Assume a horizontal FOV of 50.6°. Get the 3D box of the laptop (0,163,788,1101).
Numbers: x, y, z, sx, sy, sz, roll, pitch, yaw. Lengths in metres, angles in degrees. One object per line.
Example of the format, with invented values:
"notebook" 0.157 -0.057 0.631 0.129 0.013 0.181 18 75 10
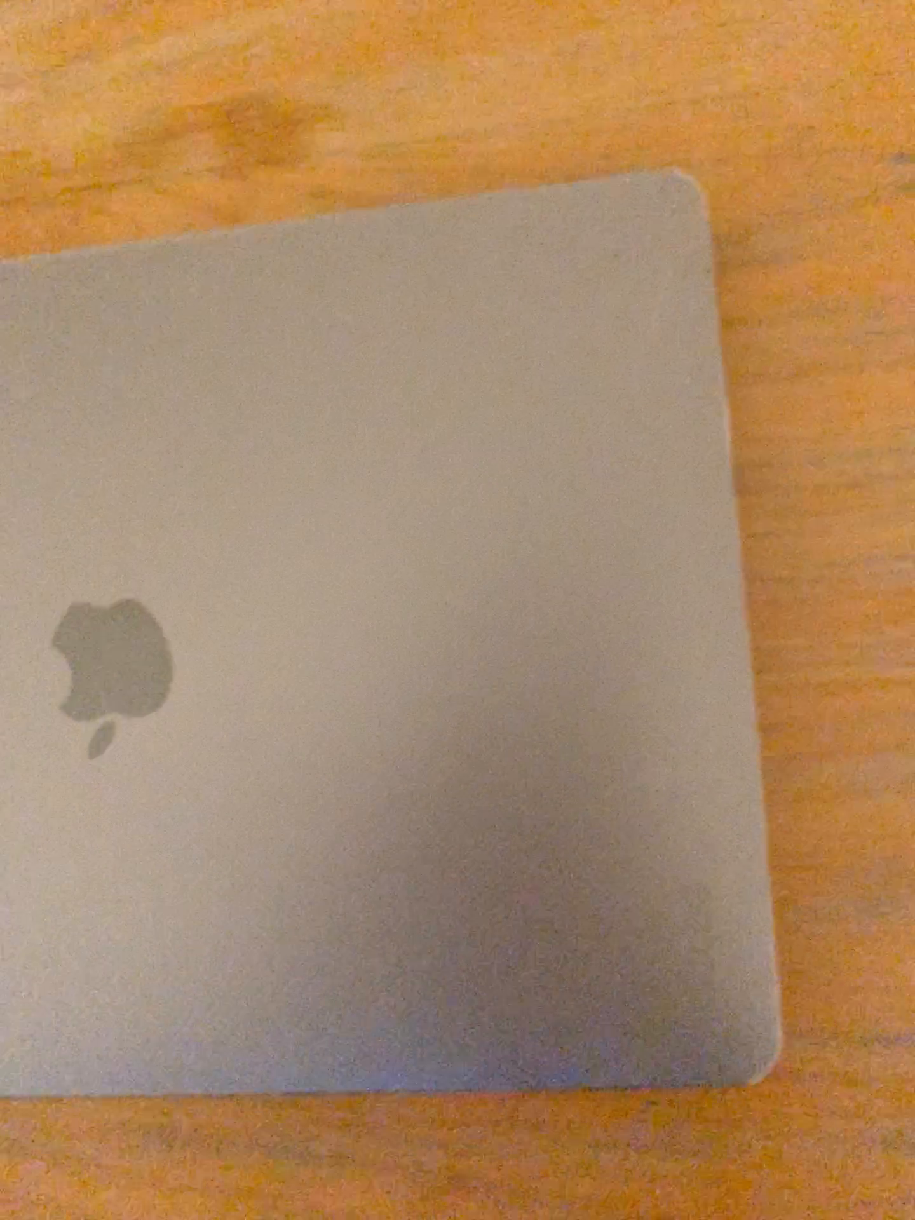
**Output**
"laptop" -0.080 0.013 0.242 0.292 0.005 0.210 -4 87 9
